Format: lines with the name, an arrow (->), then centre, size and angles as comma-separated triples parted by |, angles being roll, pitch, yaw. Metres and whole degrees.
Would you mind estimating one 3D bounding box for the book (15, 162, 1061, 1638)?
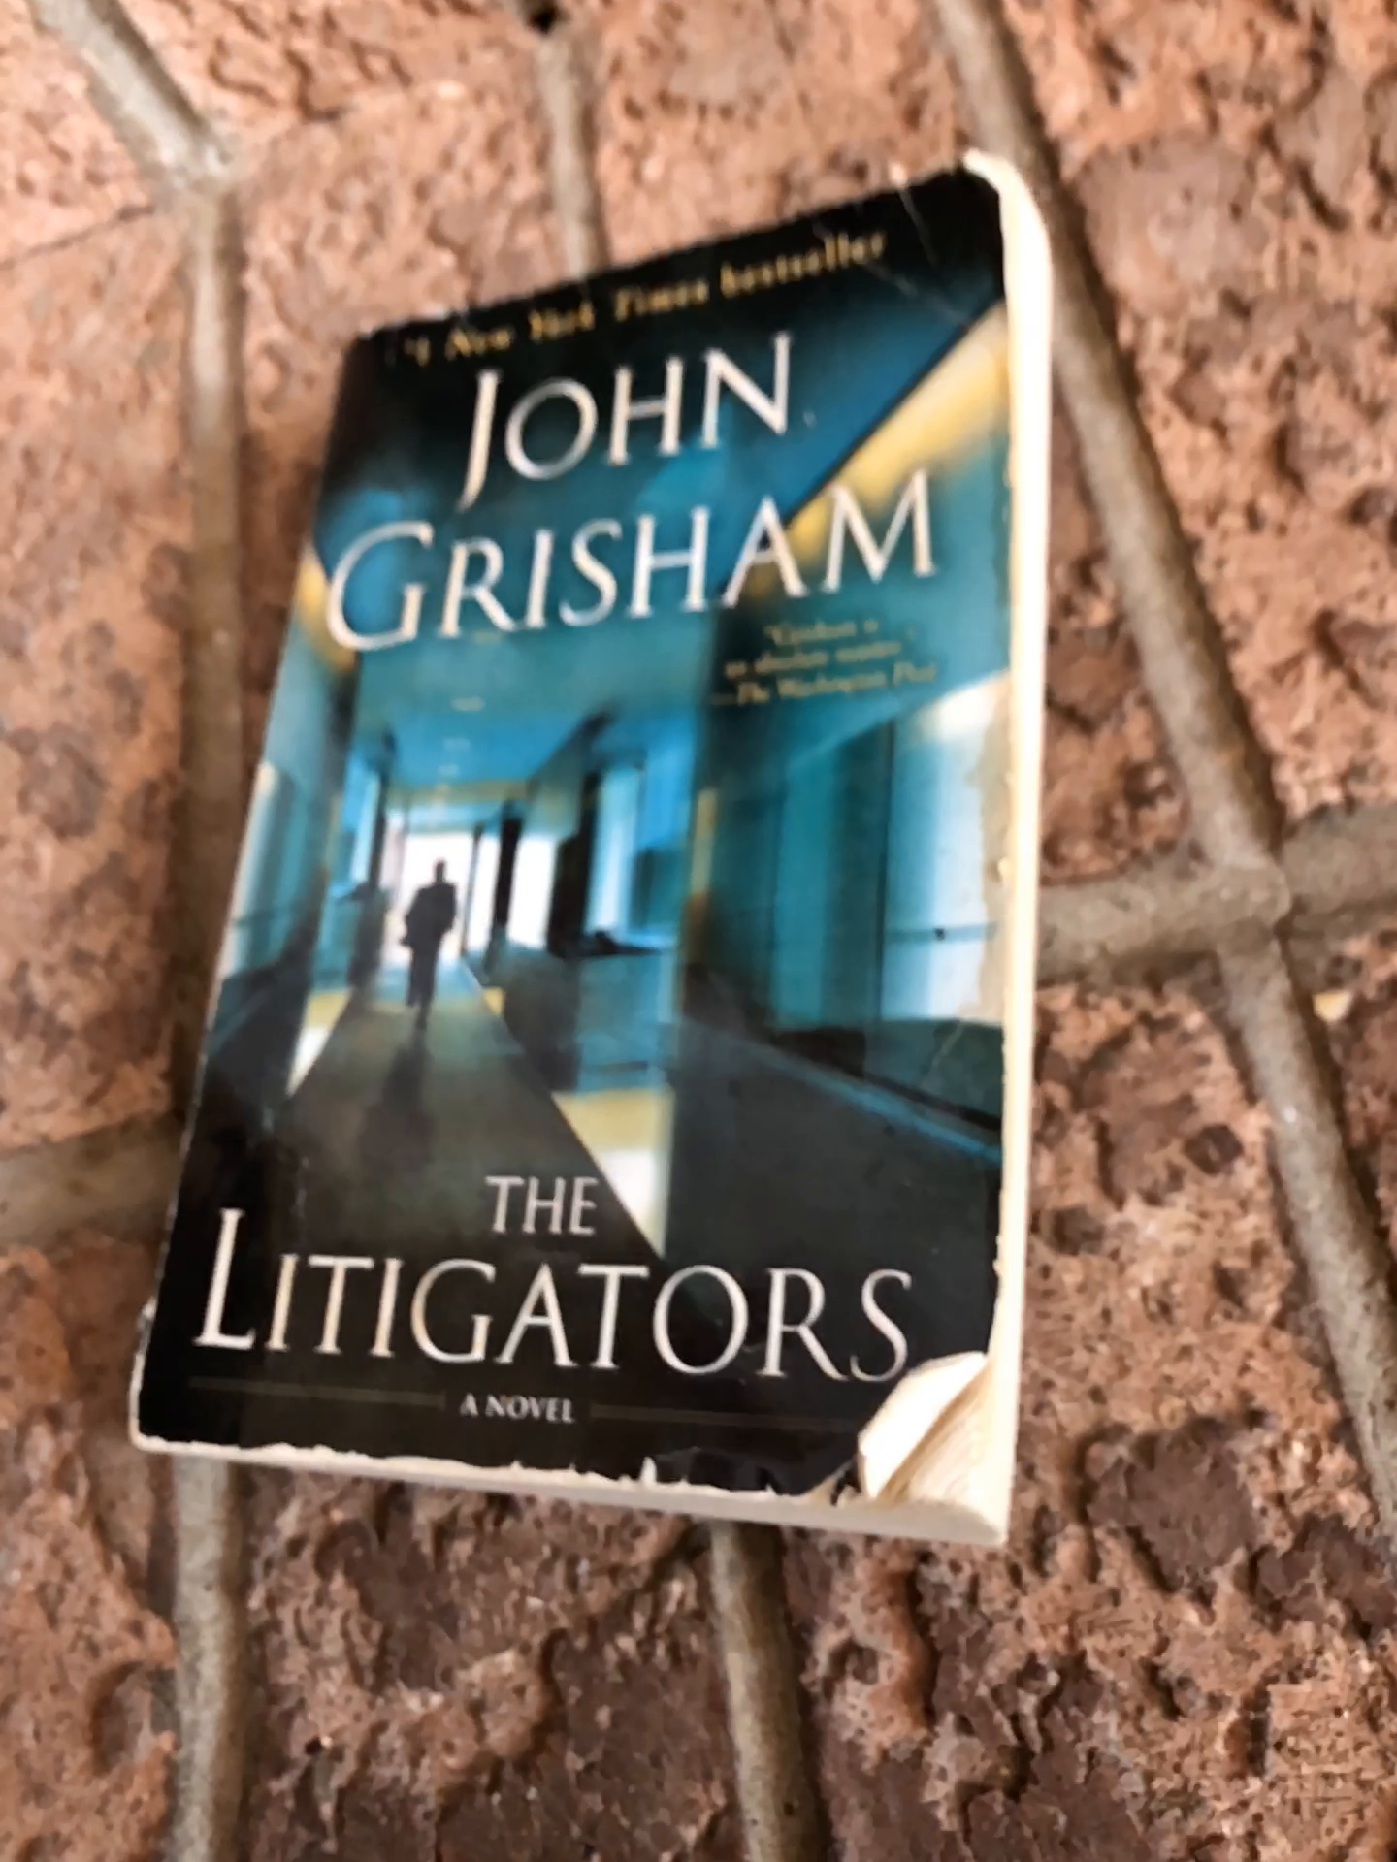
book -> -0.019, -0.010, 0.243 | 0.135, 0.033, 0.199 | -3, 70, 25
